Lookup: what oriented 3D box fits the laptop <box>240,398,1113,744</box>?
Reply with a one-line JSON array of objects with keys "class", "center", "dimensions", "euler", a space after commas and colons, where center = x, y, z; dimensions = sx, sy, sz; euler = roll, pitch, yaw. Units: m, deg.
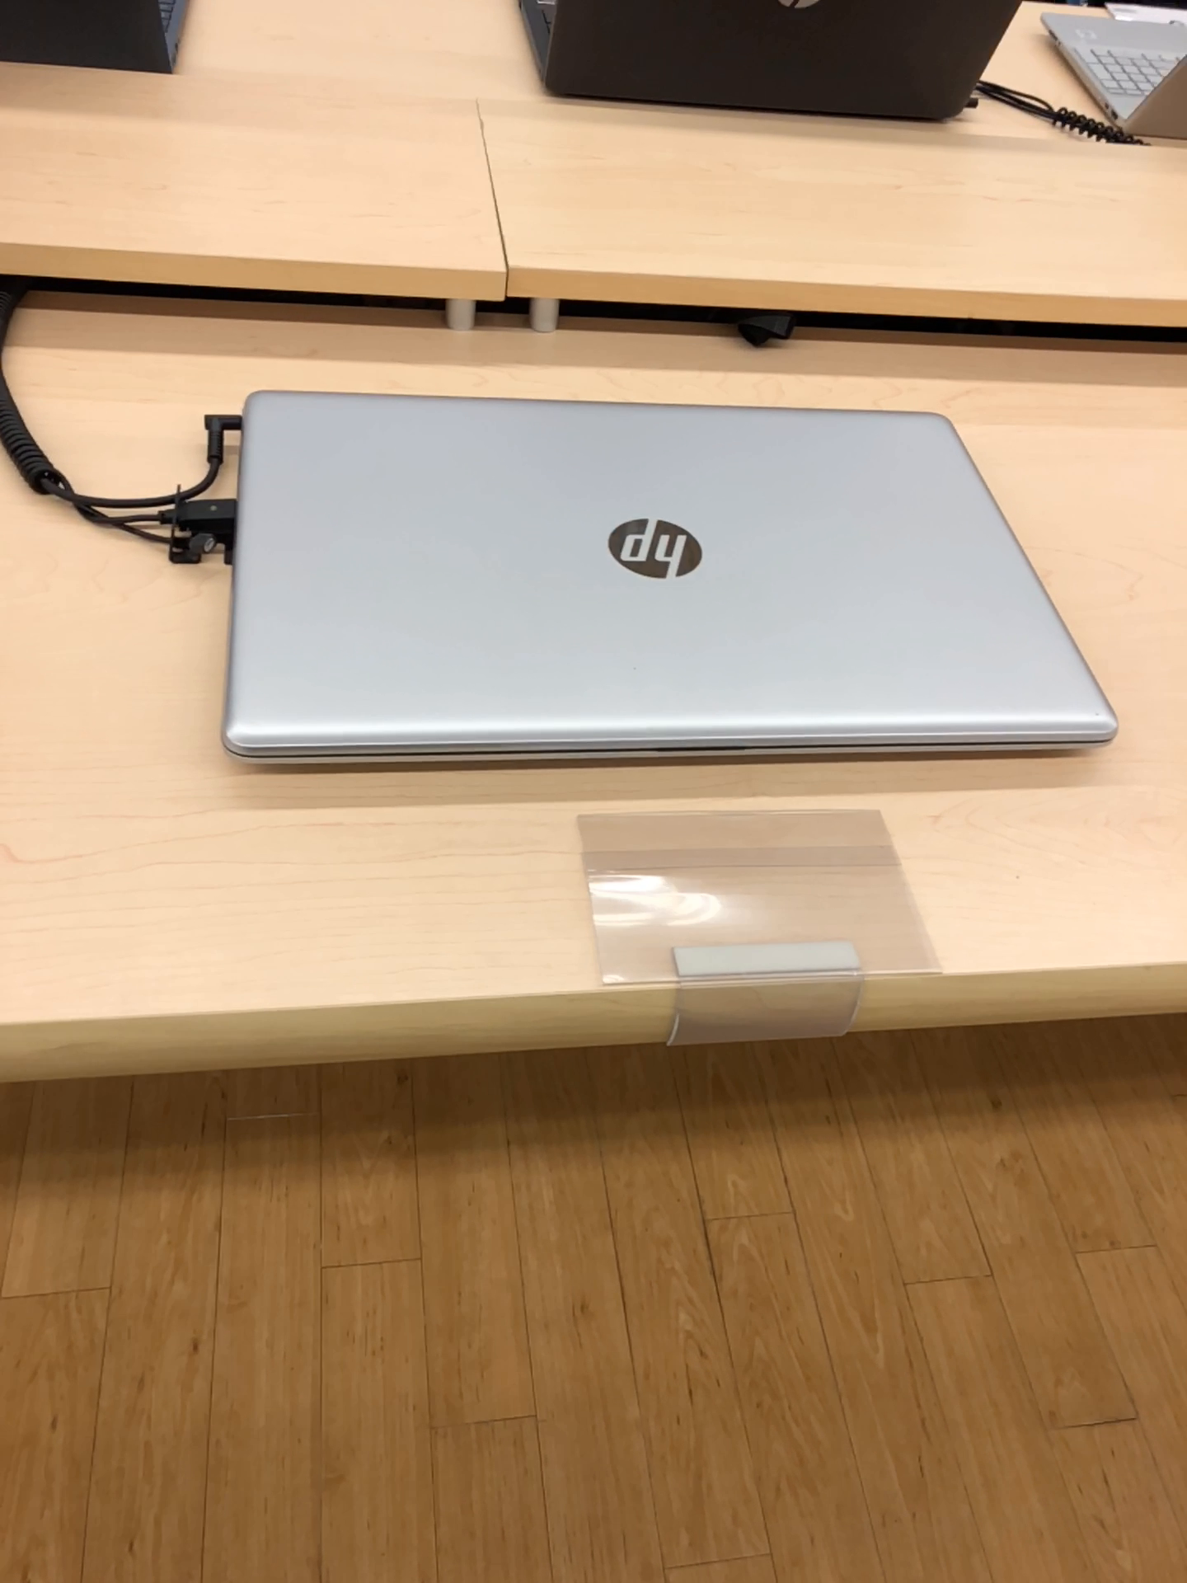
[{"class": "laptop", "center": [0.031, -0.121, 0.660], "dimensions": [0.397, 0.001, 0.258], "euler": [-1, 49, -10]}]
